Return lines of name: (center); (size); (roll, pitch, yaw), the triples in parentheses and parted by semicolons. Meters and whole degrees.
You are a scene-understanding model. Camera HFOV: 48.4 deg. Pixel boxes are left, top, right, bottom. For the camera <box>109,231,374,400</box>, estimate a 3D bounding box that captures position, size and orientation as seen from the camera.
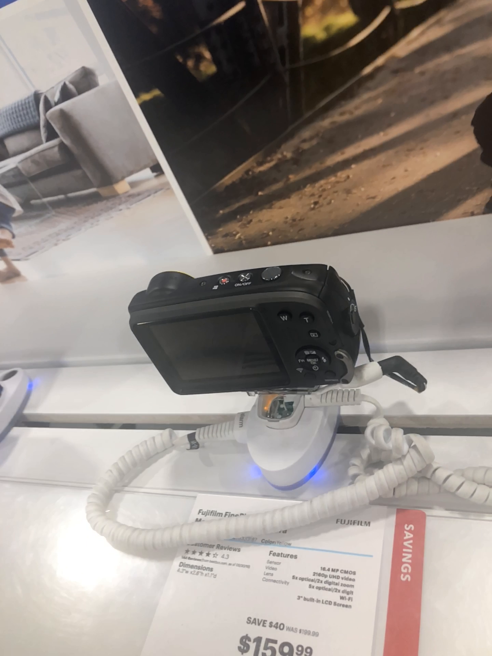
camera: (0.000, -0.001, 0.271); (0.110, 0.070, 0.030); (-7, 42, 24)
